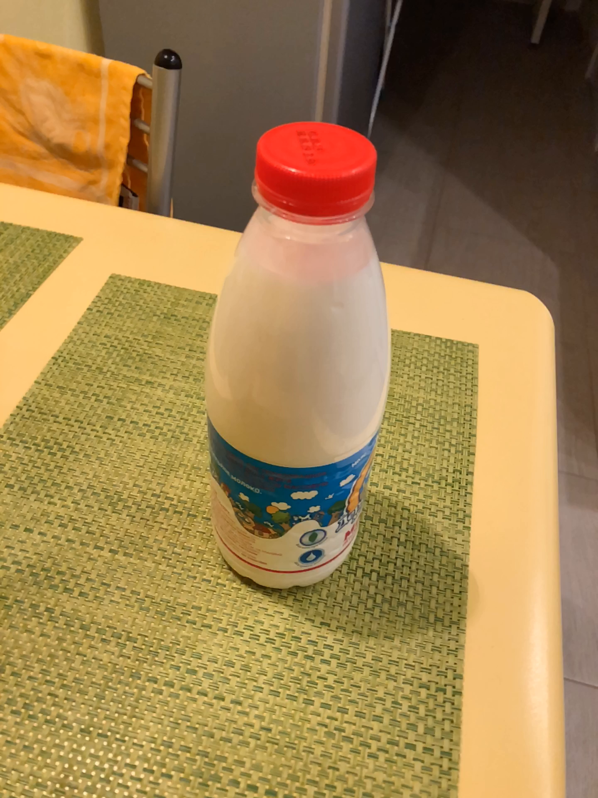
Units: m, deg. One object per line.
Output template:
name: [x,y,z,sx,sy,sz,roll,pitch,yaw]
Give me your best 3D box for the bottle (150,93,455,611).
bottle: [-0.001,-0.005,0.301,0.090,0.218,0.091,3,45,-3]
